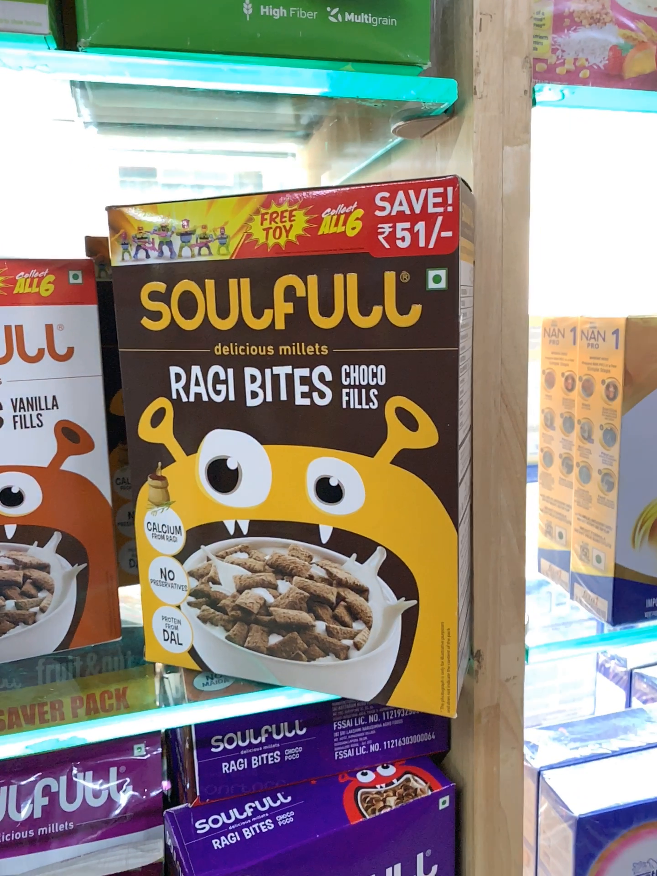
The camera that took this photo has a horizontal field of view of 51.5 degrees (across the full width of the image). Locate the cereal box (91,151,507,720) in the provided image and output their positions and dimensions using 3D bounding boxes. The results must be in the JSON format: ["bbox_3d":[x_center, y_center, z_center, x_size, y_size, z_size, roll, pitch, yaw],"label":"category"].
[{"bbox_3d":[-0.012,-0.002,0.345,0.190,0.239,0.060,2,11,21],"label":"cereal box"}]
